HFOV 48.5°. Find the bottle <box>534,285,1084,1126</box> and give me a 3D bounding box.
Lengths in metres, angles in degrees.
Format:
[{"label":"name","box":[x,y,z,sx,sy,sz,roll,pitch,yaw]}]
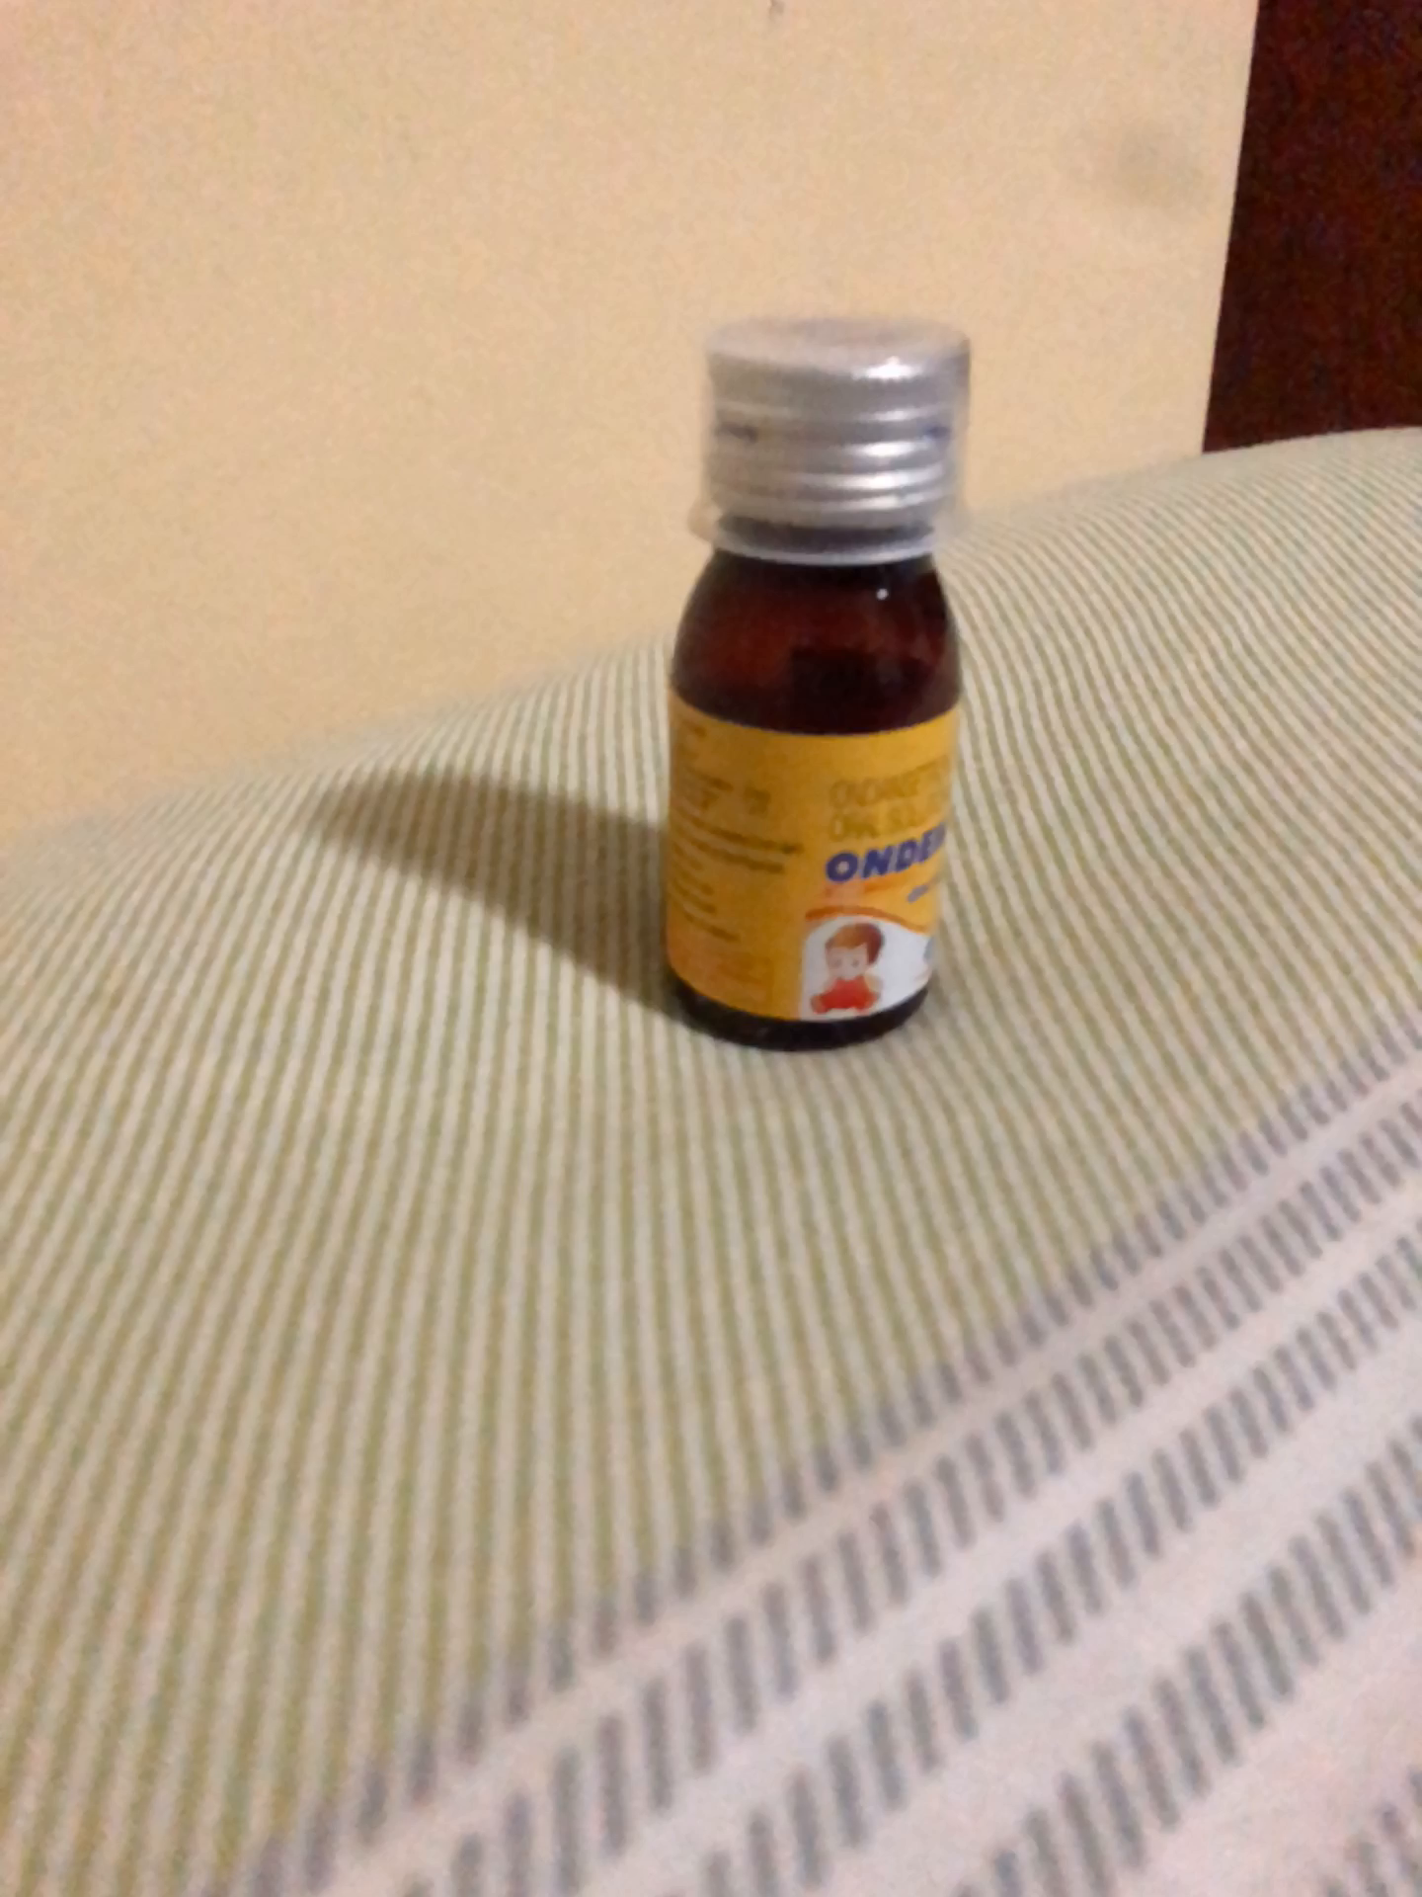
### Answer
[{"label":"bottle","box":[0.008,-0.029,0.179,0.040,0.080,0.040,1,30,0]}]
